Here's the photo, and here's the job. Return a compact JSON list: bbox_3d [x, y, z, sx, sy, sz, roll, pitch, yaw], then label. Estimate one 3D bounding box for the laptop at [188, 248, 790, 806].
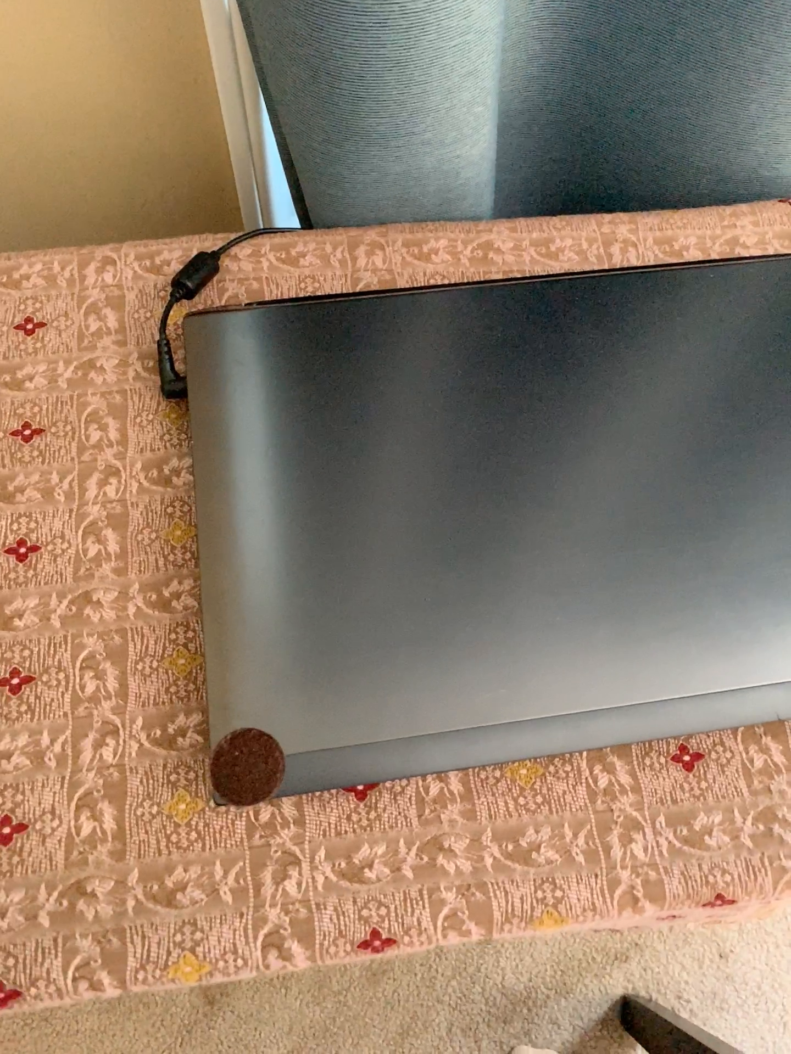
[{"bbox_3d":[0.089,-0.016,0.374,0.356,0.011,0.223,-7,70,-4],"label":"laptop"}]
